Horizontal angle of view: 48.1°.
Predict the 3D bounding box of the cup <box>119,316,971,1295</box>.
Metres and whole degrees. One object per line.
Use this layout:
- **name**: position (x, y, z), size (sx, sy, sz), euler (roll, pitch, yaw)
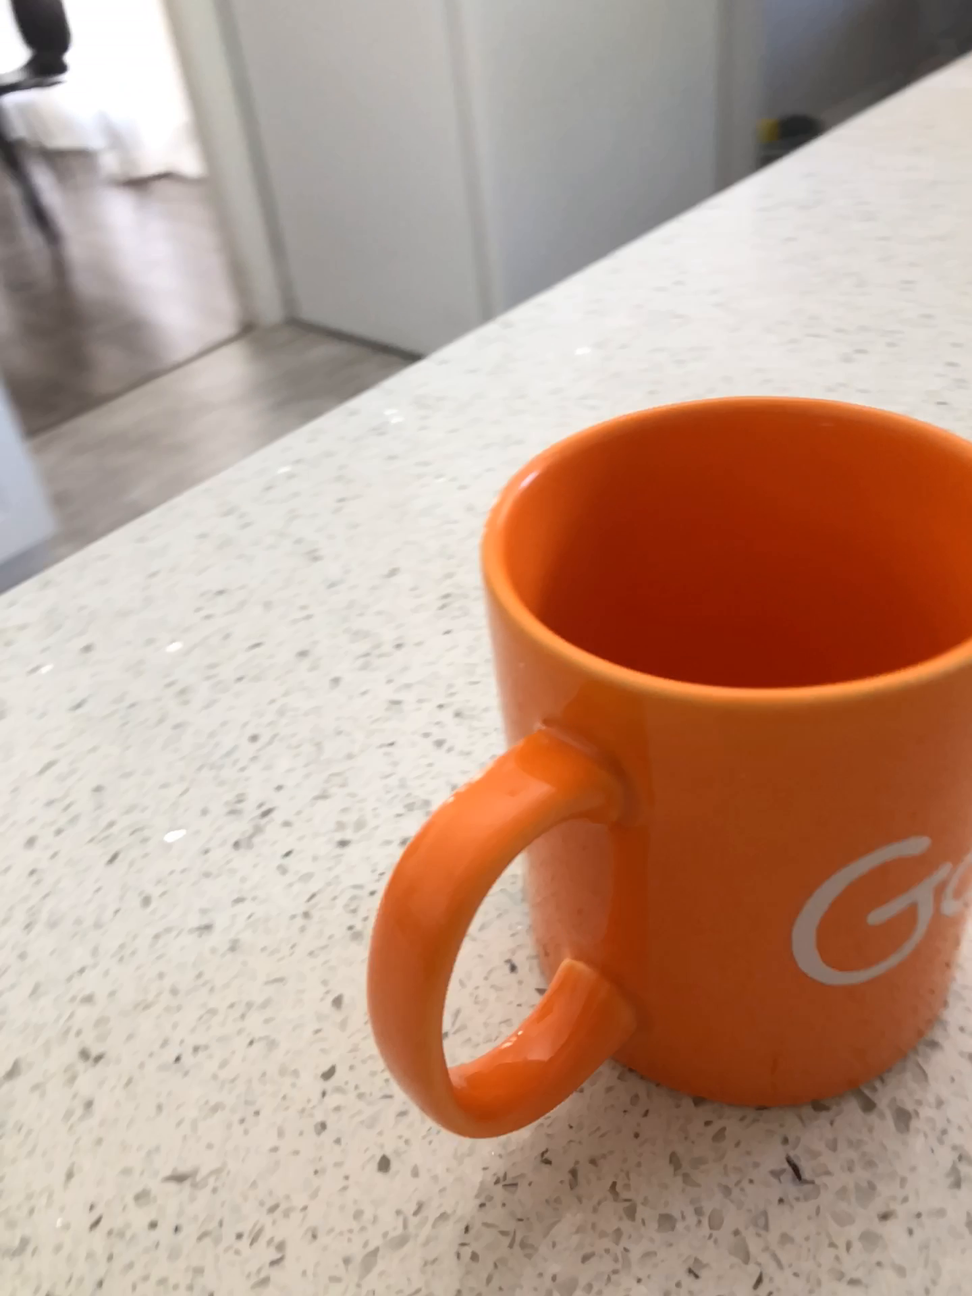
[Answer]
- **cup**: position (0.034, 0.024, 0.181), size (0.130, 0.101, 0.090), euler (-34, 44, -29)
